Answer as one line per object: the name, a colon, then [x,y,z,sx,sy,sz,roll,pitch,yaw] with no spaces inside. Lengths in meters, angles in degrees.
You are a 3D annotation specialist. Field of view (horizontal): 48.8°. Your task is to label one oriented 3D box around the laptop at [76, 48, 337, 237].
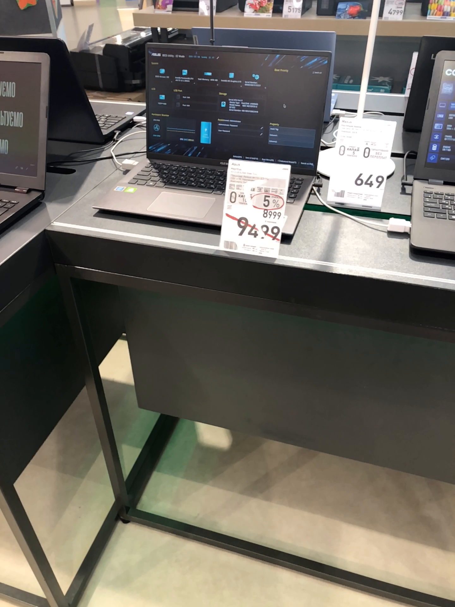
laptop: [-0.019,-0.300,0.874,0.355,0.200,0.288,10,39,16]
